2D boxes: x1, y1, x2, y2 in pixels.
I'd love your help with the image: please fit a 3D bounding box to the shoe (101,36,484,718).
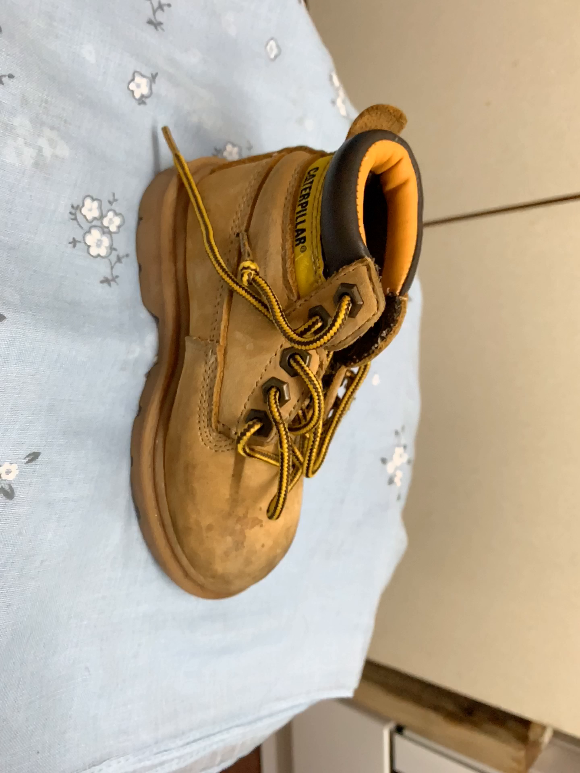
[{"bbox_3d":[-0.001,-0.004,0.245,0.096,0.119,0.190,-1,92,-48],"label":"shoe"}]
